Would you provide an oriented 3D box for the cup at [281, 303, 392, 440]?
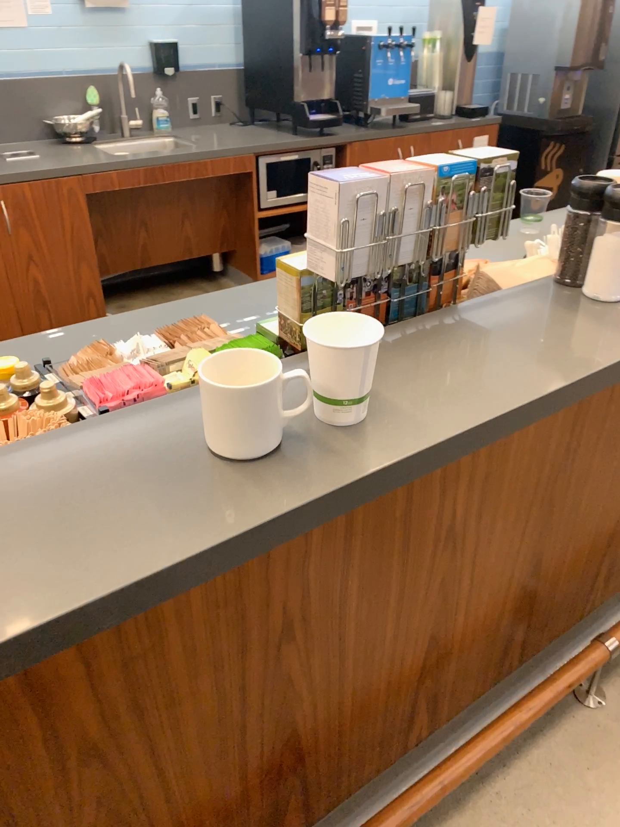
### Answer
[{"bbox_3d":[0.028,-0.050,0.714,0.090,0.109,0.080,-22,38,-31],"label":"cup"}]

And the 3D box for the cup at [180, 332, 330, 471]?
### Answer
[{"bbox_3d":[-0.056,-0.015,0.635,0.130,0.089,0.091,-8,33,-13],"label":"cup"}]
